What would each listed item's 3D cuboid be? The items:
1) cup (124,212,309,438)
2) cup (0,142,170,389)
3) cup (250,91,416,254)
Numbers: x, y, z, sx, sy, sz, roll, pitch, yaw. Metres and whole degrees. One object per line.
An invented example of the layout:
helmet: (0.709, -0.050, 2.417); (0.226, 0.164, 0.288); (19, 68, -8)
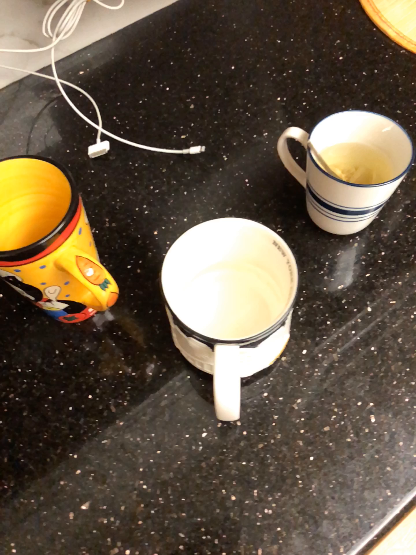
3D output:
cup: (0.014, 0.035, 0.352); (0.110, 0.080, 0.140); (6, 61, 7)
cup: (-0.126, -0.010, 0.365); (0.150, 0.100, 0.100); (33, 68, 20)
cup: (0.114, -0.097, 0.418); (0.120, 0.060, 0.090); (31, 67, 19)
